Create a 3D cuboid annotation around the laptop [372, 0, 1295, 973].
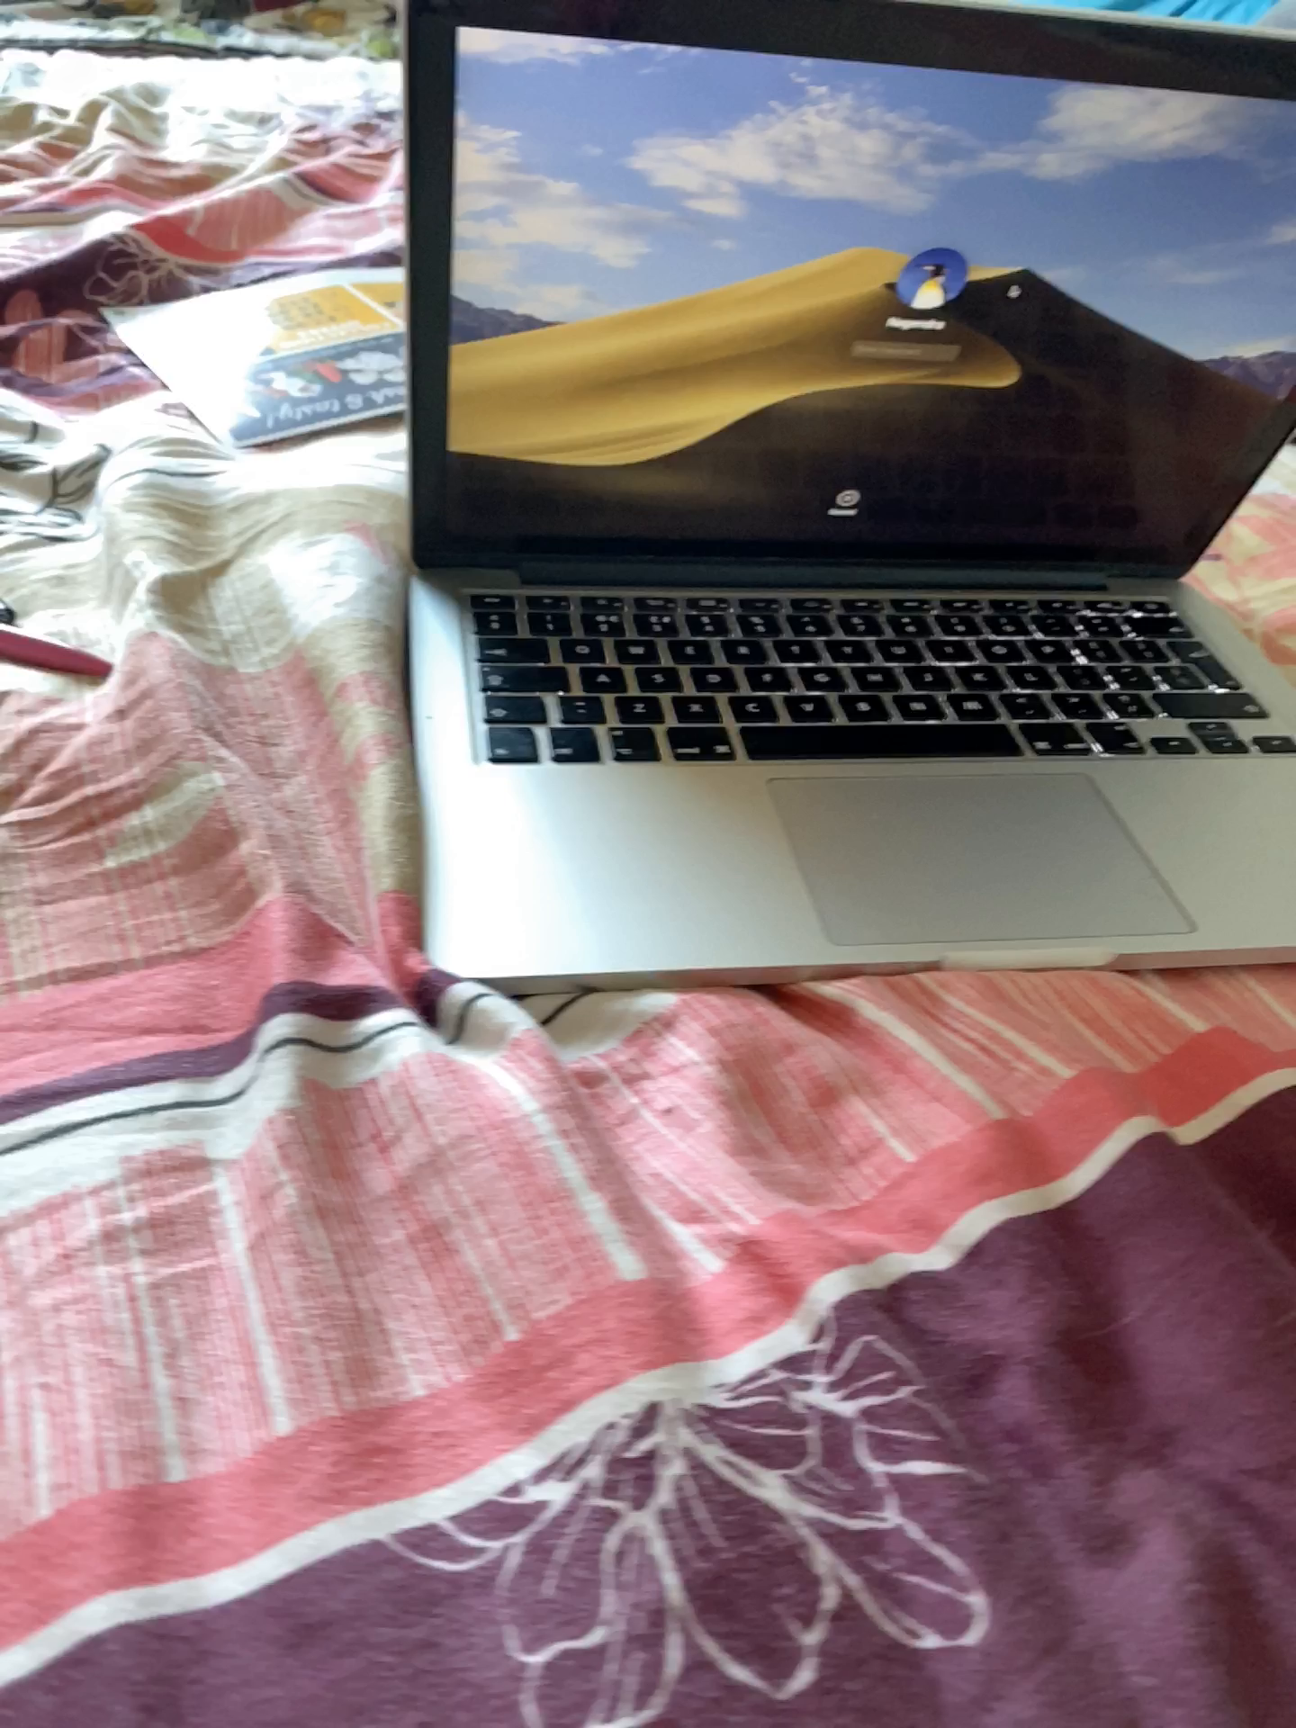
[{"bbox_3d":[0.088,-0.115,0.363,0.303,0.191,0.203,-2,41,-9],"label":"laptop"}]
